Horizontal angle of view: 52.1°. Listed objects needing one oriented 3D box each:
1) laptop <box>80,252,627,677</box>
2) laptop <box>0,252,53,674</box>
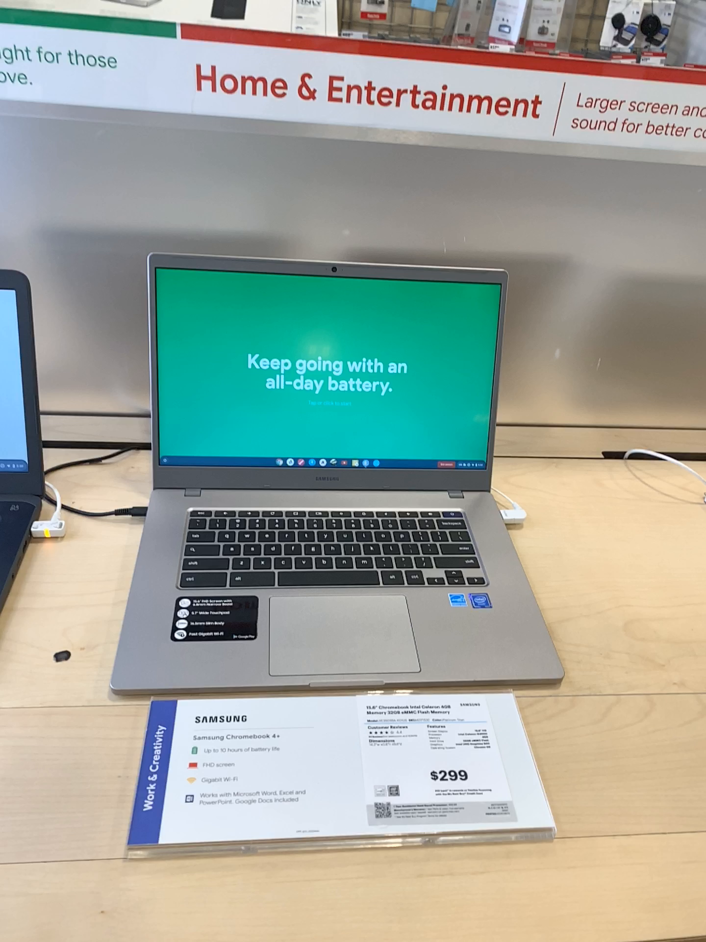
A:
[{"bbox_3d":[-0.013,-0.026,0.632,0.340,0.200,0.326,0,36,-6],"label":"laptop"},{"bbox_3d":[-0.434,-0.022,0.565,0.300,0.191,0.288,0,35,-8],"label":"laptop"}]
